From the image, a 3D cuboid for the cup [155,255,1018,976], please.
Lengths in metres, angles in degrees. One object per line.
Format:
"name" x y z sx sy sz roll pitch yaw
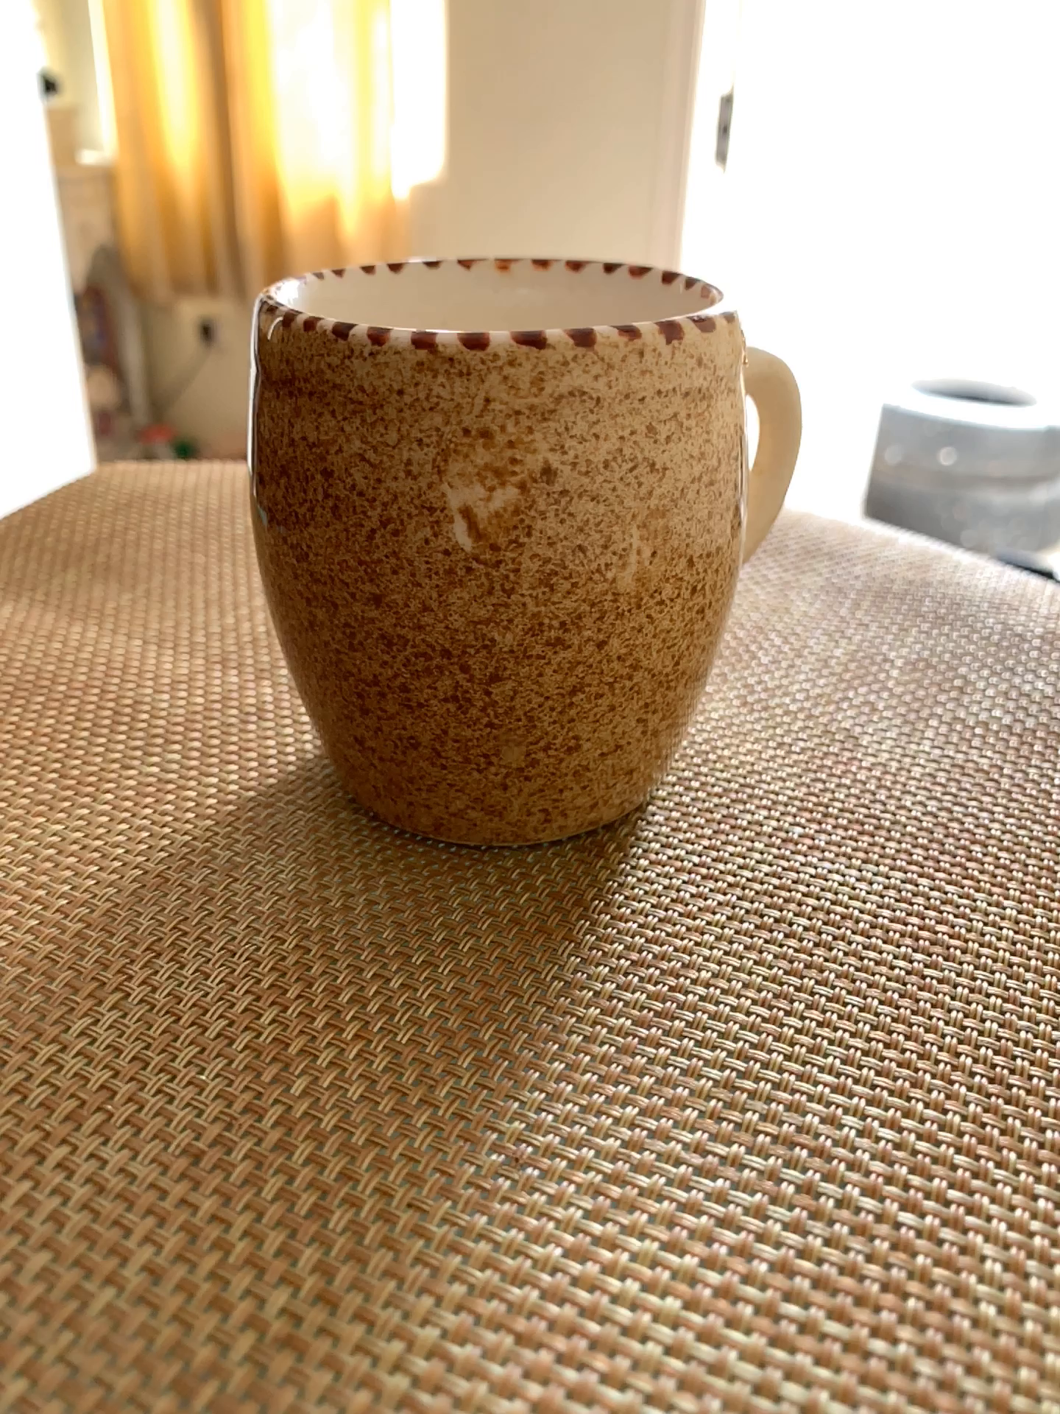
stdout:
"cup" 0.004 -0.023 0.164 0.090 0.069 0.070 -13 31 -27
